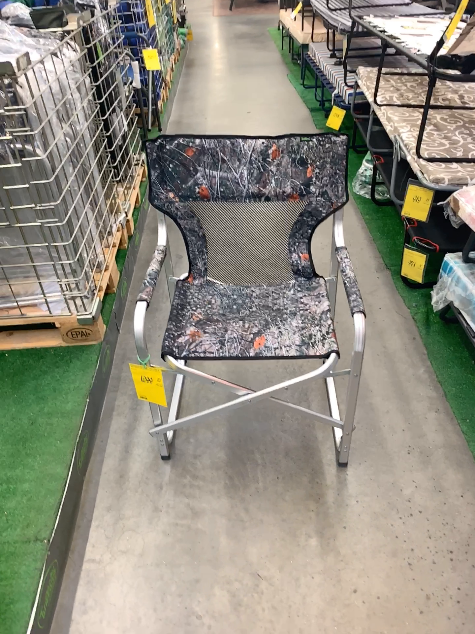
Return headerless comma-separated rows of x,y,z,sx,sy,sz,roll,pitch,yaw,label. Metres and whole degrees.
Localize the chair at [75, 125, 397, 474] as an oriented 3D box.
0.030,-0.050,1.469,0.650,0.836,0.613,0,38,5,chair
